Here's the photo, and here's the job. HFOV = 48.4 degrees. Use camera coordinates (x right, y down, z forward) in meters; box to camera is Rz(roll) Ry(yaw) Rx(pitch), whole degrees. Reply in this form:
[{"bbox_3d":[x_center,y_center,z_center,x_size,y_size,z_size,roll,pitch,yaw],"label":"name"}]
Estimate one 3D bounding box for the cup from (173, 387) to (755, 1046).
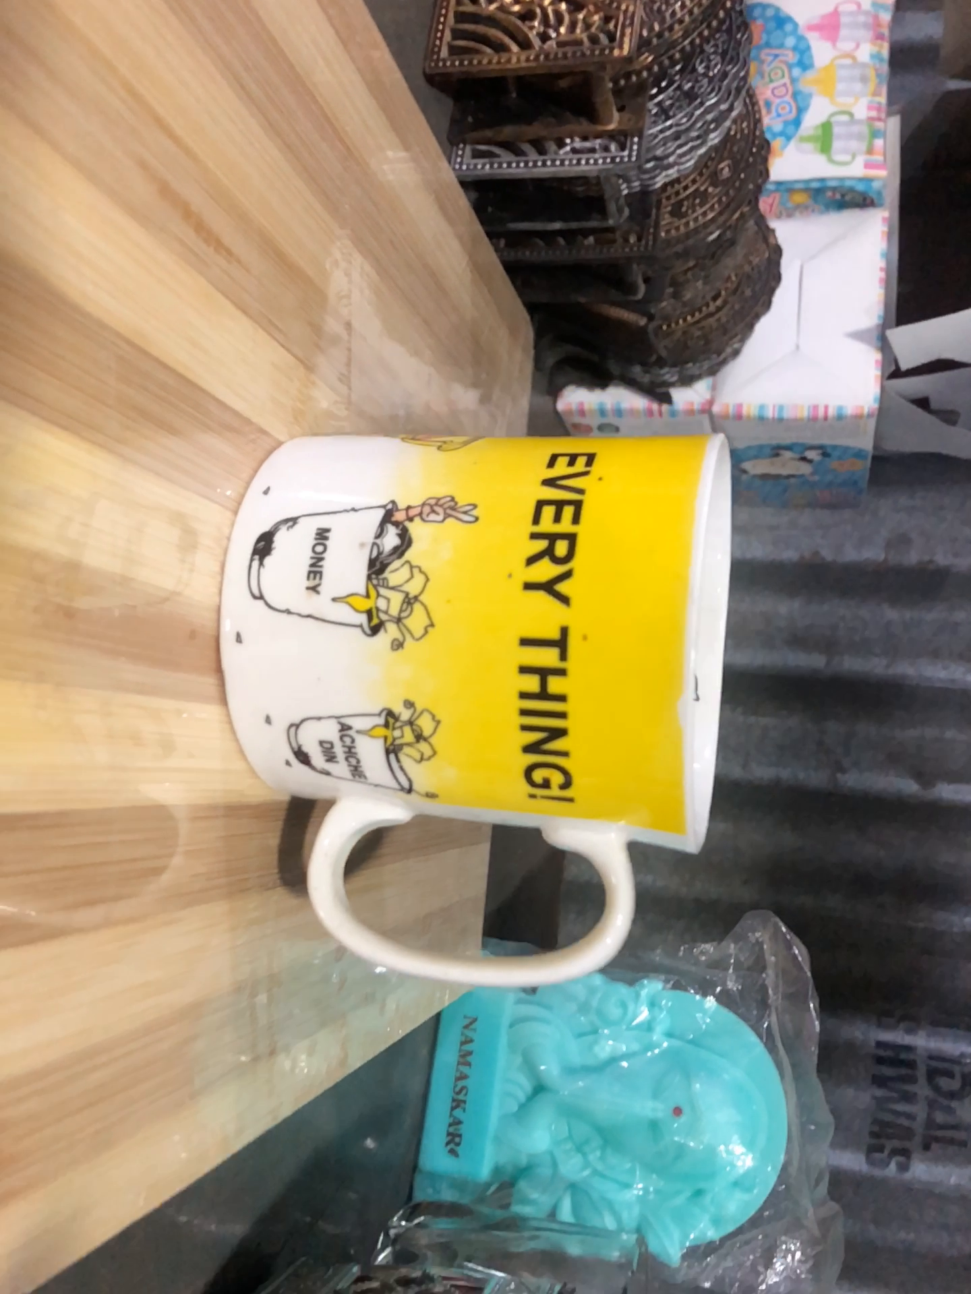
[{"bbox_3d":[0.001,0.010,0.228,0.070,0.100,0.110,3,91,-76],"label":"cup"}]
